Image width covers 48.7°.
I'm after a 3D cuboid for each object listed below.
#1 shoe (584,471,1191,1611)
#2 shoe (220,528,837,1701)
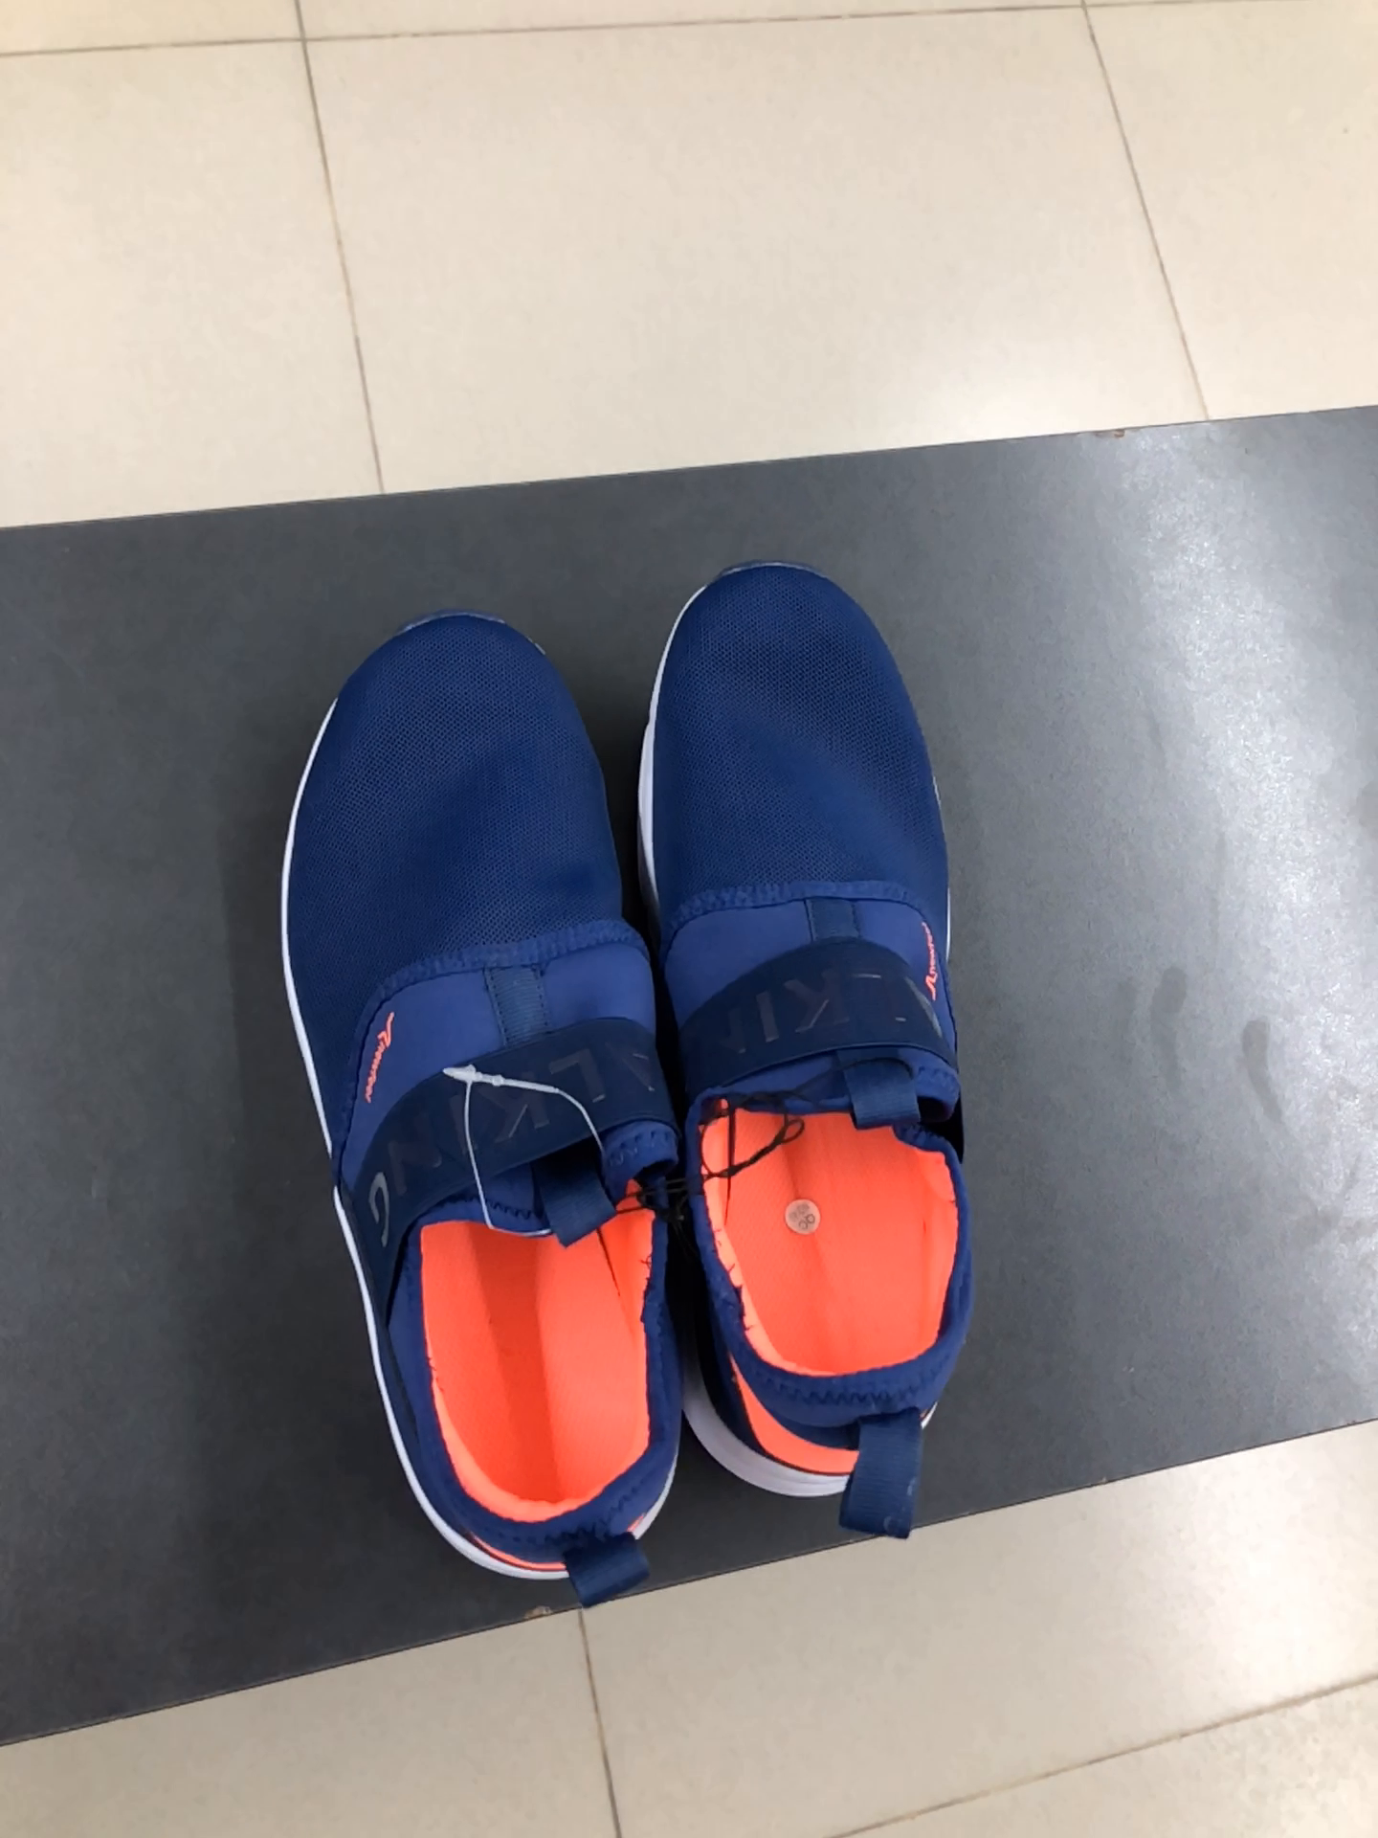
[{"bbox_3d":[0.035,0.028,0.383,0.110,0.120,0.240,-3,77,-3],"label":"shoe"},{"bbox_3d":[-0.050,0.045,0.413,0.110,0.120,0.260,-7,78,-11],"label":"shoe"}]
